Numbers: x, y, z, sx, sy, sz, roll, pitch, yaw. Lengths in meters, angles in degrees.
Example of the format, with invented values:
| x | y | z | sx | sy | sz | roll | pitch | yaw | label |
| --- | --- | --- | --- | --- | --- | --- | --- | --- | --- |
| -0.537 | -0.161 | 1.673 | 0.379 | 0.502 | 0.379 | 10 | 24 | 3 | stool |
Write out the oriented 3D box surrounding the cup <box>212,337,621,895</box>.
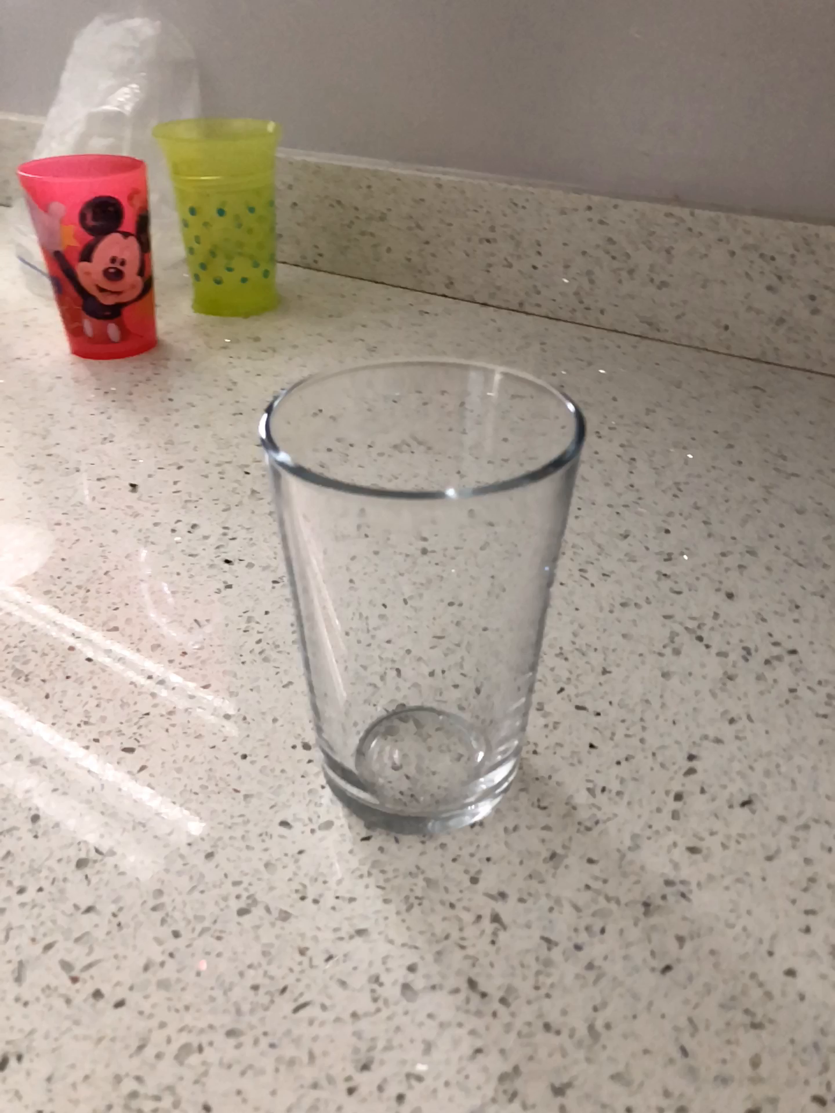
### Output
| x | y | z | sx | sy | sz | roll | pitch | yaw | label |
| --- | --- | --- | --- | --- | --- | --- | --- | --- | --- |
| 0.001 | 0.014 | 0.231 | 0.074 | 0.114 | 0.080 | 0 | 33 | 0 | cup |
